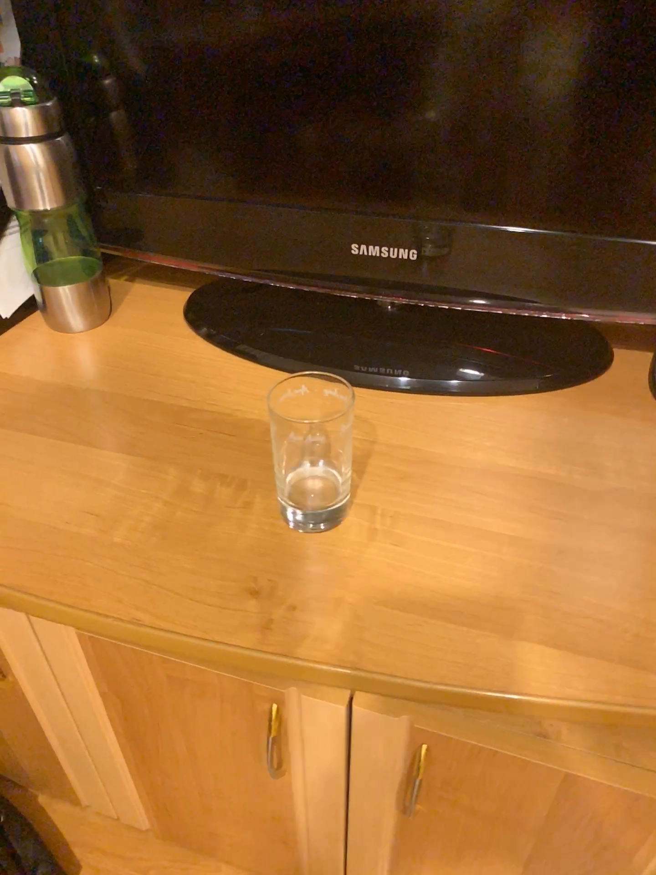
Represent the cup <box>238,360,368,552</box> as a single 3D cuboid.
[{"bbox_3d":[-0.013,0.012,0.440,0.060,0.098,0.060,-1,38,1],"label":"cup"}]
